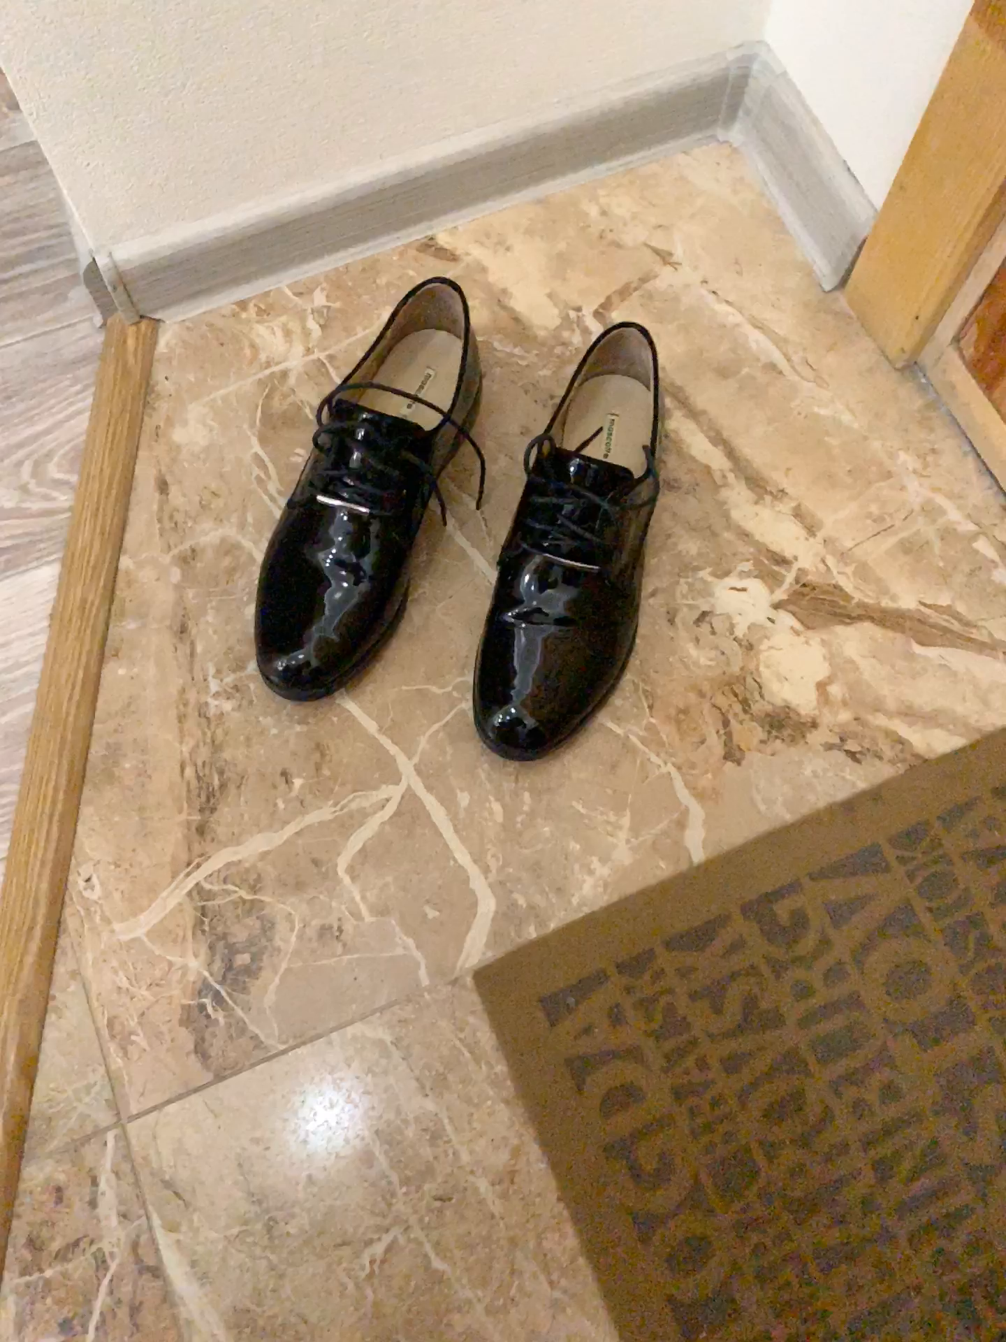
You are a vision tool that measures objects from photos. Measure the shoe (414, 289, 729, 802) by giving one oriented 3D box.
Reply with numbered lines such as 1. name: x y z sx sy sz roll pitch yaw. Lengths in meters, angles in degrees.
1. shoe: 0.038 -0.065 0.547 0.090 0.110 0.230 17 70 6

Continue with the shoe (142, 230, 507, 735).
1. shoe: -0.082 -0.099 0.556 0.086 0.110 0.230 21 71 7
